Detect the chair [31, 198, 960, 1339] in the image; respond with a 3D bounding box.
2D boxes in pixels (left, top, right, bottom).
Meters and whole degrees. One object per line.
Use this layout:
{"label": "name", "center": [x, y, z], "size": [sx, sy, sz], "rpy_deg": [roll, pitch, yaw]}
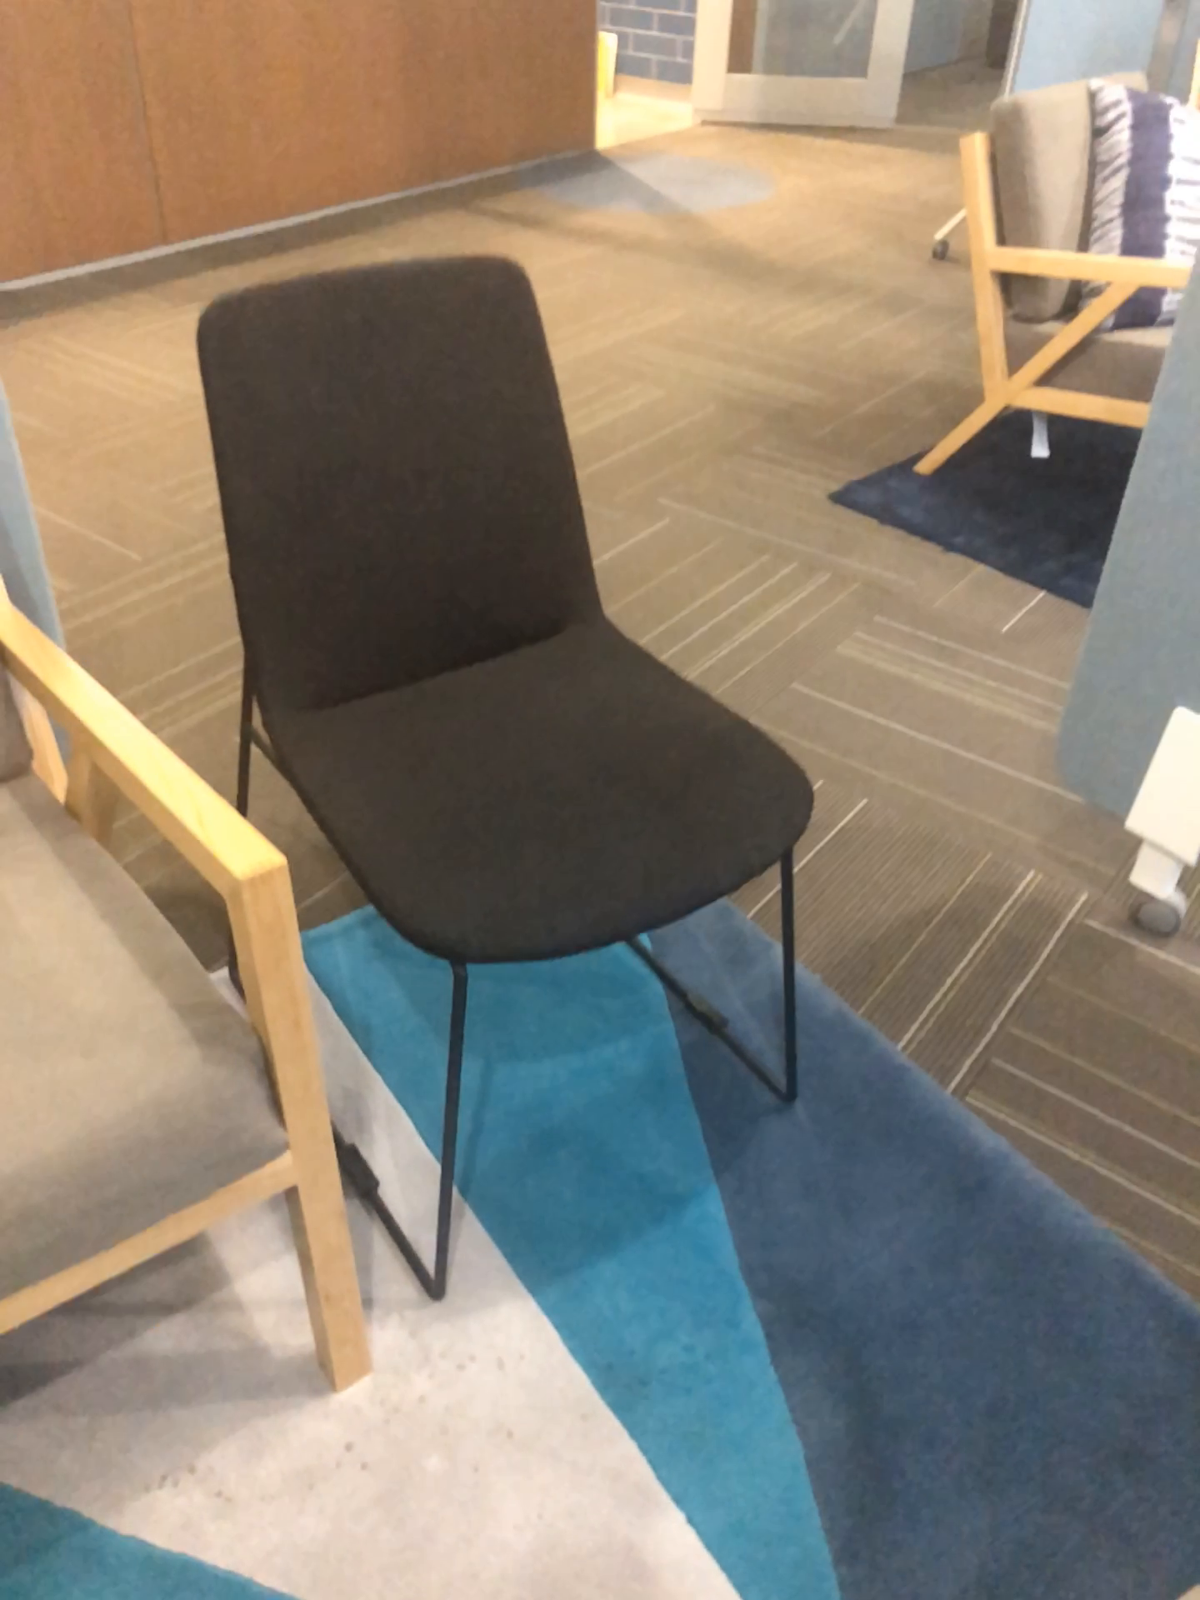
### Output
{"label": "chair", "center": [-0.137, -0.074, 1.349], "size": [0.503, 0.822, 0.683], "rpy_deg": [-21, 42, -28]}
